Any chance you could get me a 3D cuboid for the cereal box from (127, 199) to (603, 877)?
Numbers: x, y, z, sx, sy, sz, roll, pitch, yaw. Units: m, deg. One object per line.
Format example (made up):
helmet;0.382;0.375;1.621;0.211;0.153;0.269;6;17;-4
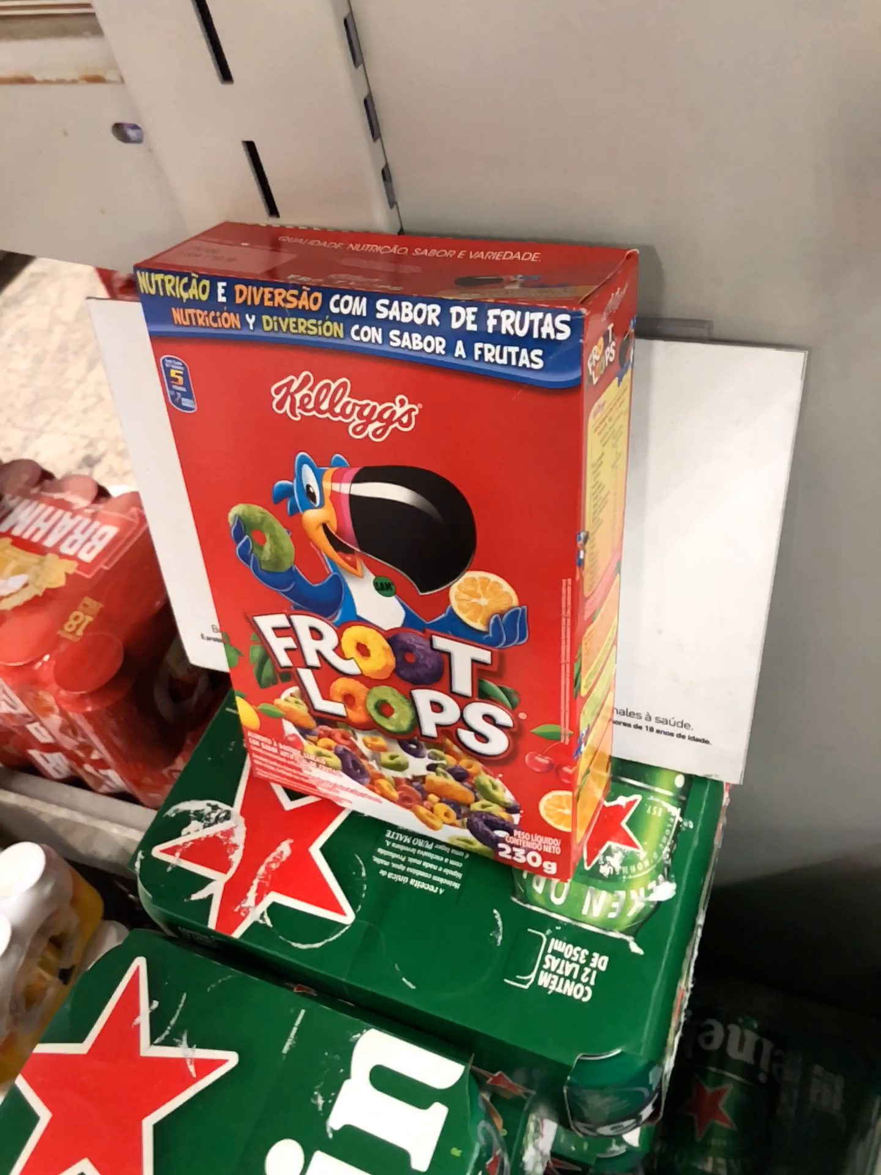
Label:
cereal box;-0.020;-0.013;0.401;0.150;0.258;0.060;13;38;23
